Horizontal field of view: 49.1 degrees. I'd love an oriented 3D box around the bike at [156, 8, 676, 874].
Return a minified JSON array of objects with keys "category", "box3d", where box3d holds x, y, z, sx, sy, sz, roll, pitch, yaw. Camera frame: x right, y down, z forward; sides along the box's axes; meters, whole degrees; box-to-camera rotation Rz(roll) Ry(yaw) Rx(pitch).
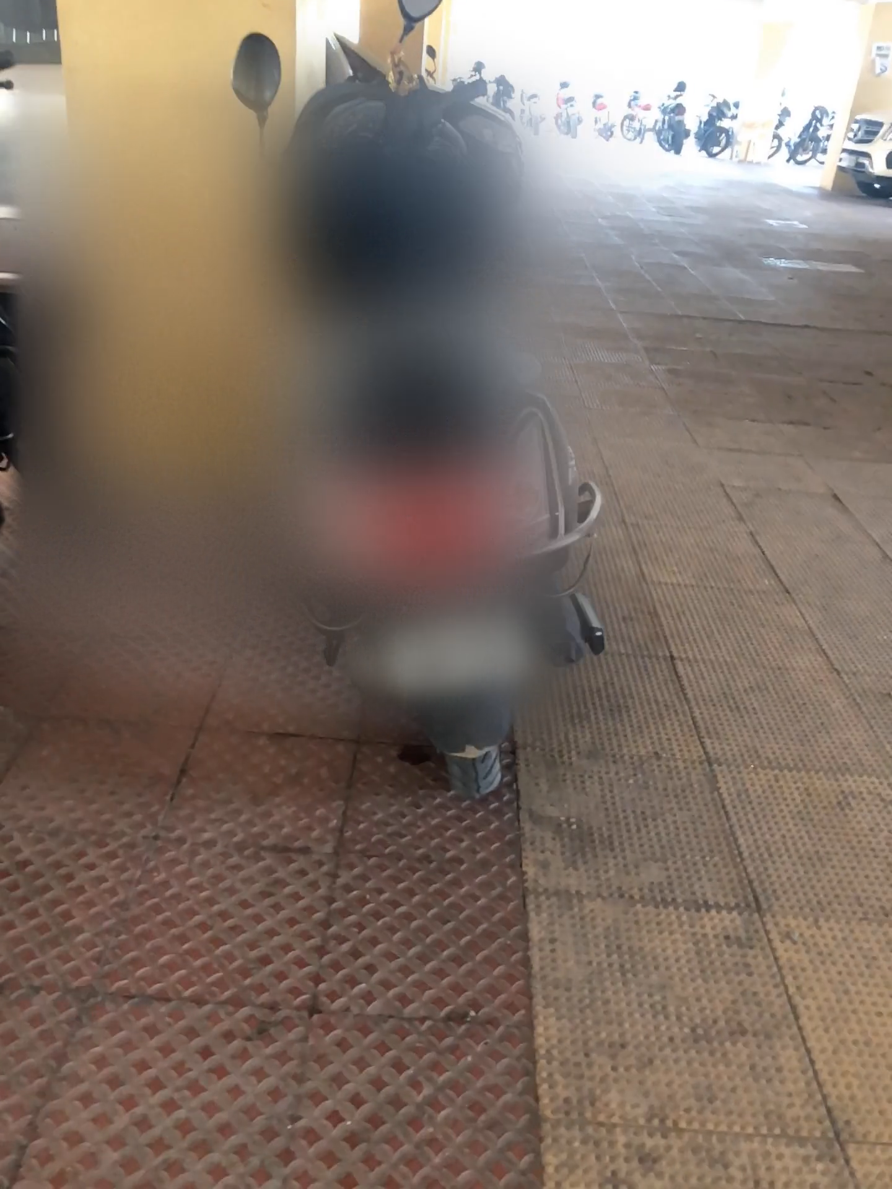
[{"category":"bike","box3d":[-0.232,-0.447,1.987,0.608,1.172,1.448,-2,31,-14]}]
